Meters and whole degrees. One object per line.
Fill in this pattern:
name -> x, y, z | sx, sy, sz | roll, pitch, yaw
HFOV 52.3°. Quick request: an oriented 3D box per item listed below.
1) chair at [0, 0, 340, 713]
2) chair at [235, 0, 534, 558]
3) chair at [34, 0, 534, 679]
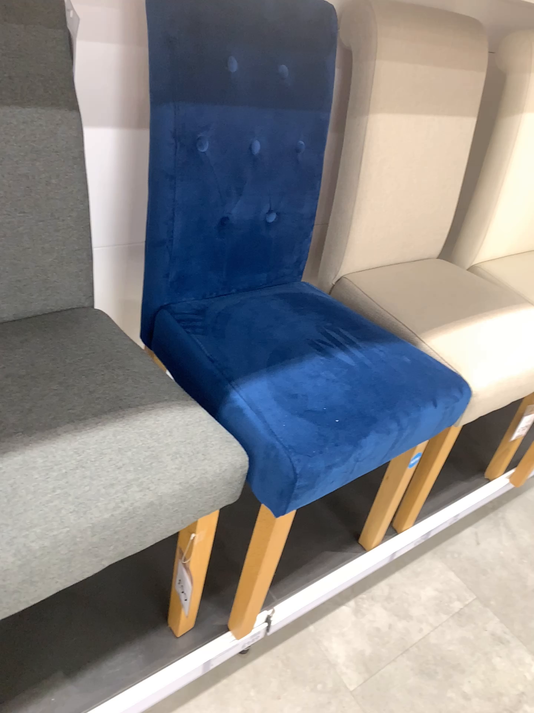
chair -> -0.389, -0.017, 0.804 | 0.491, 1.025, 0.671 | -15, 37, -34
chair -> 0.355, -0.220, 1.283 | 0.491, 1.035, 0.671 | -15, 37, -34
chair -> -0.036, -0.111, 1.024 | 0.491, 1.035, 0.671 | -15, 37, -34
